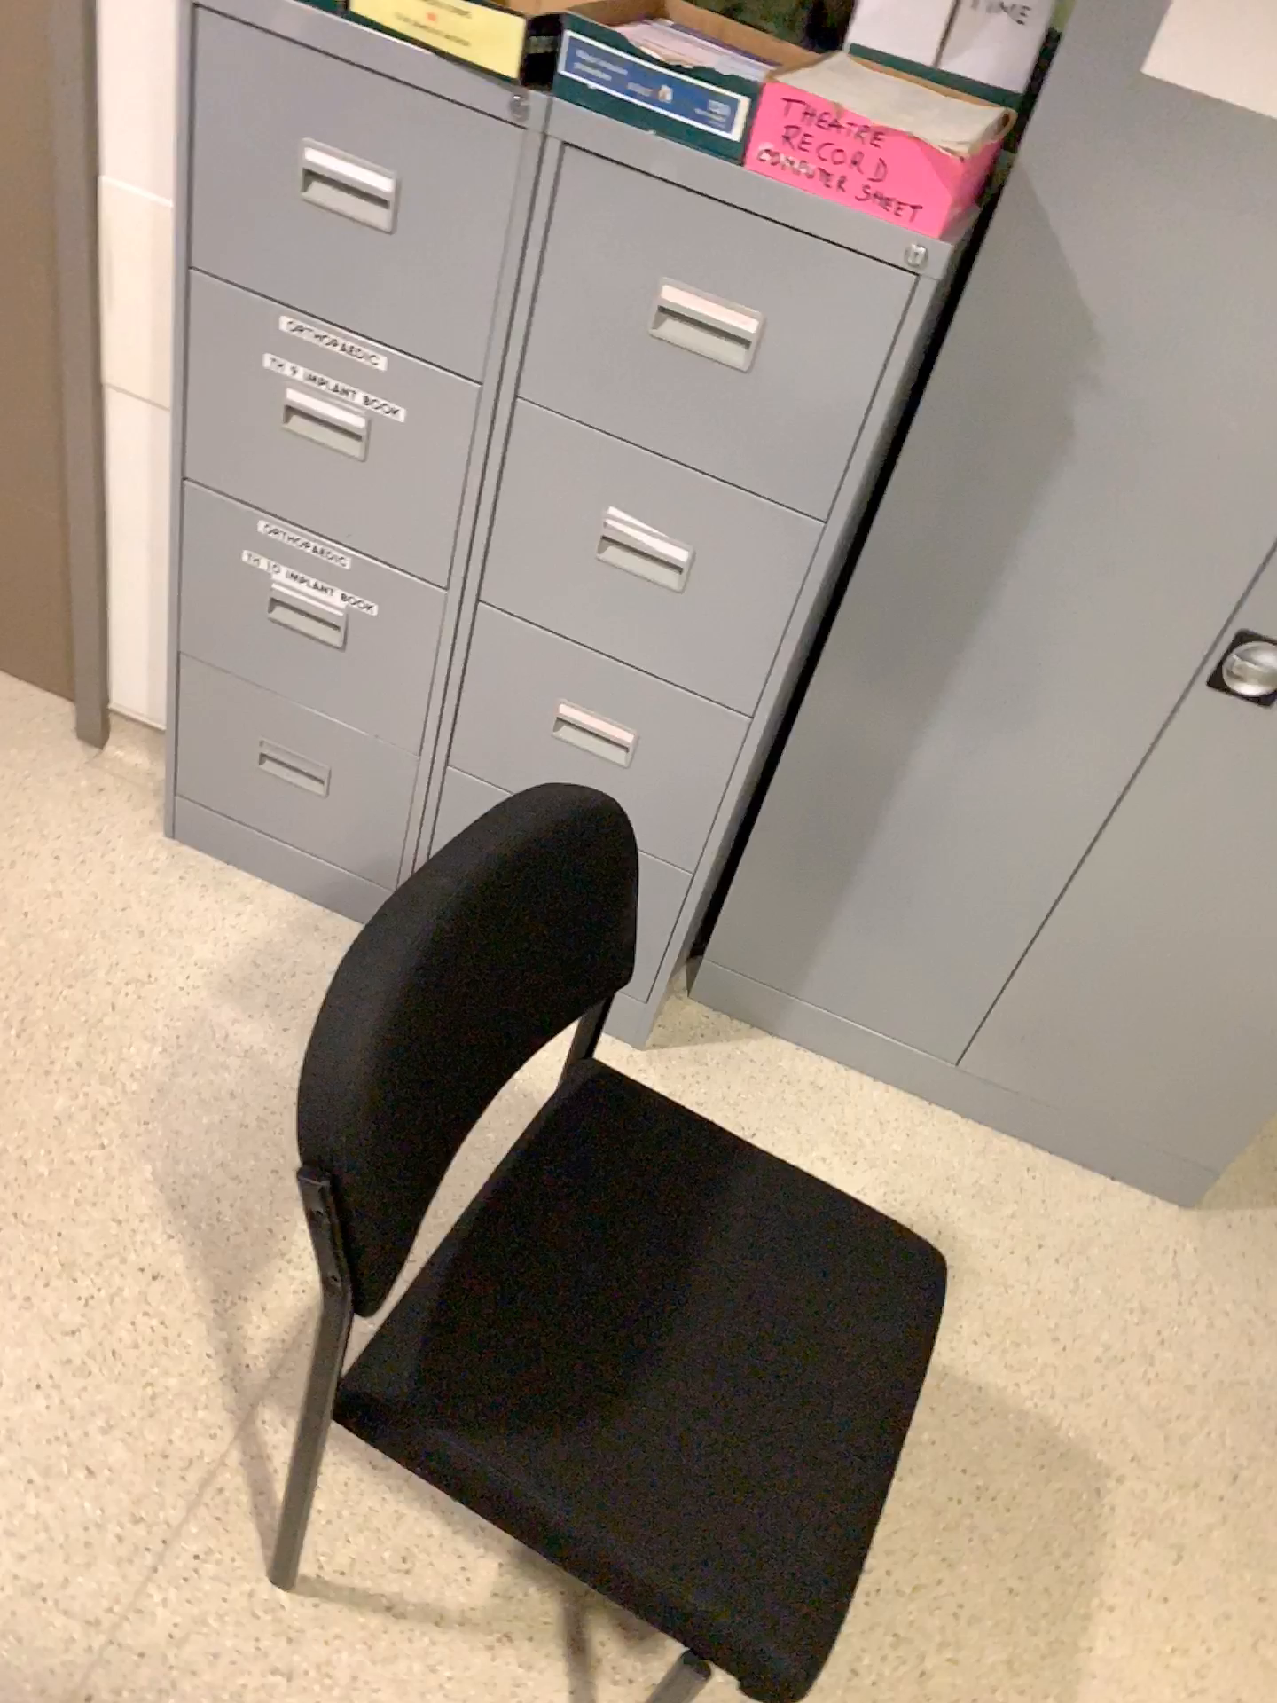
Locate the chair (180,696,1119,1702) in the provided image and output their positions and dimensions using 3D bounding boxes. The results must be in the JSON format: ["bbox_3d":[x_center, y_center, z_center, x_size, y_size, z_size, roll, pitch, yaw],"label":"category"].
[{"bbox_3d":[-0.018,0.432,1.355,0.581,0.832,0.635,28,40,12],"label":"chair"}]
